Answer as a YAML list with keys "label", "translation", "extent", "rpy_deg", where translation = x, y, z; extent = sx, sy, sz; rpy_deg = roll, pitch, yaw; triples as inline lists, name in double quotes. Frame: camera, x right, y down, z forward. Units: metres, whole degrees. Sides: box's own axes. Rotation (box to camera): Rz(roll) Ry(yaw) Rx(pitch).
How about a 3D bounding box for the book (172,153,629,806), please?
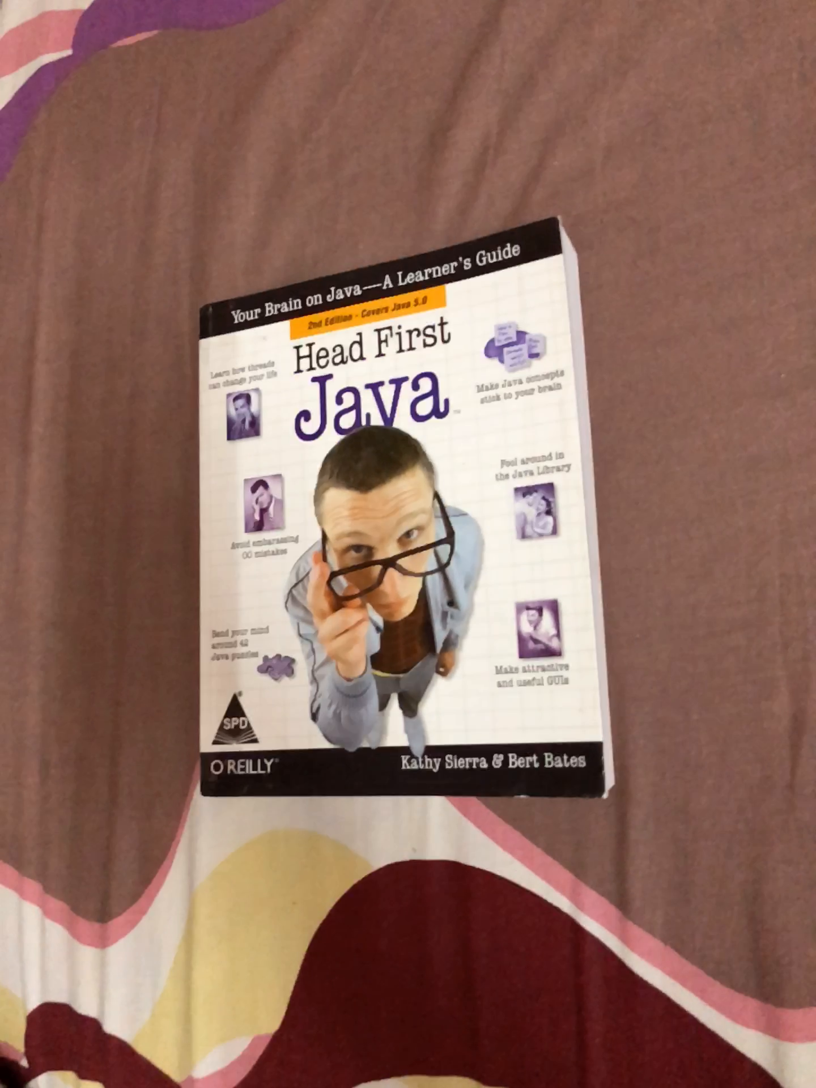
- label: "book"
  translation: [-0.011, -0.020, 0.406]
  extent: [0.190, 0.050, 0.260]
  rpy_deg: [-7, 78, 23]
